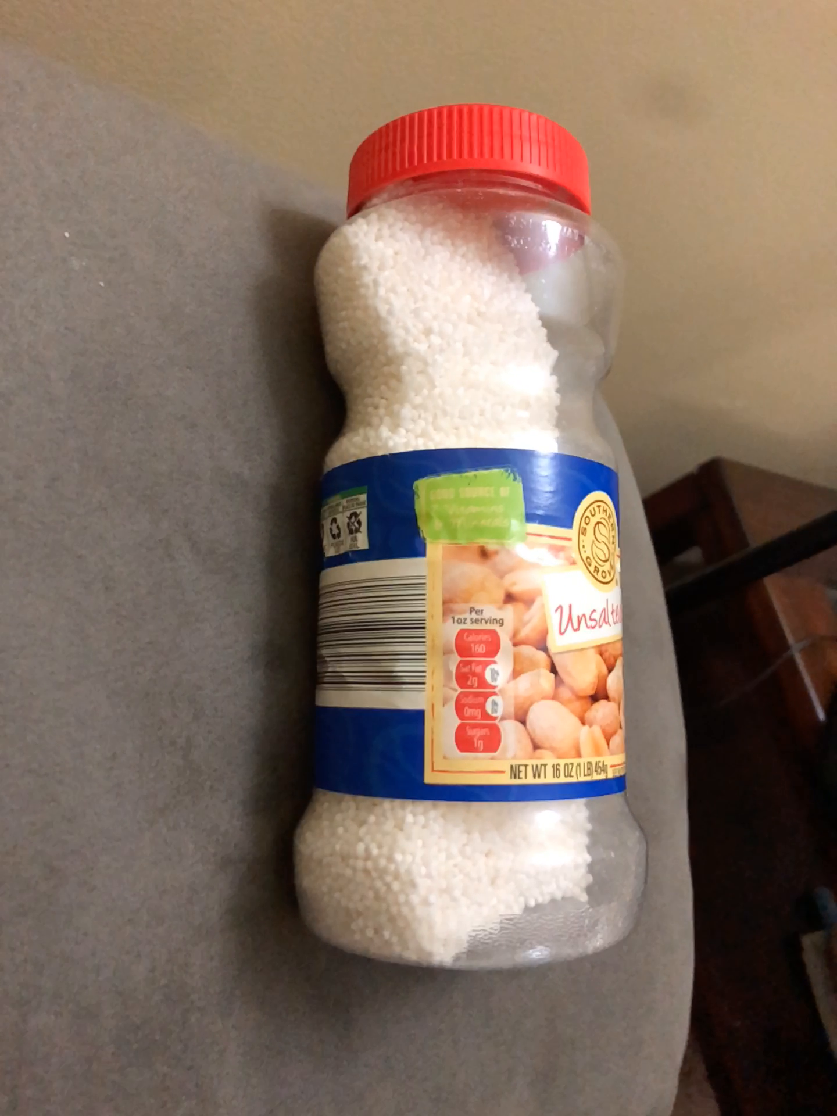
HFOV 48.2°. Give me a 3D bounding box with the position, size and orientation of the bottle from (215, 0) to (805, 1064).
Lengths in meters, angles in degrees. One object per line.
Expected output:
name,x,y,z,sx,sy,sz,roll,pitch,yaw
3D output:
bottle,0.019,-0.019,0.227,0.096,0.090,0.220,9,76,-42
